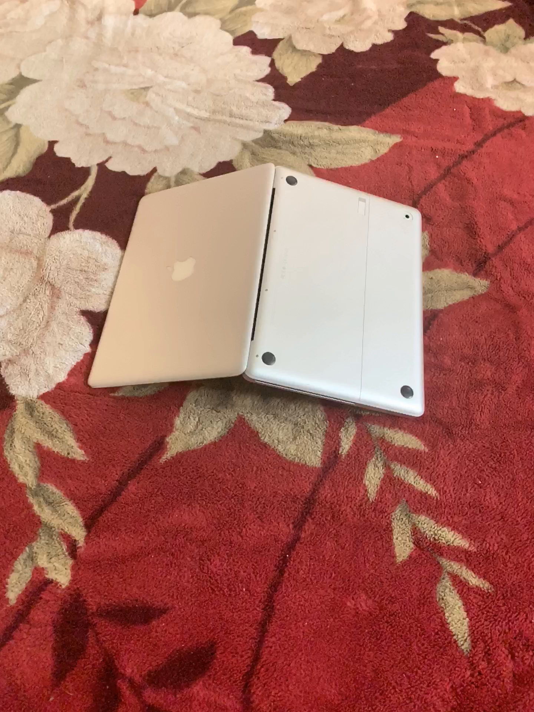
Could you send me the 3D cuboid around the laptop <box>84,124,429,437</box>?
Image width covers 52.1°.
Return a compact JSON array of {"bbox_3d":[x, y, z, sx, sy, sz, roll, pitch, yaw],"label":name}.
[{"bbox_3d":[0.019,-0.097,0.702,0.390,0.077,0.317,13,62,-10],"label":"laptop"}]
